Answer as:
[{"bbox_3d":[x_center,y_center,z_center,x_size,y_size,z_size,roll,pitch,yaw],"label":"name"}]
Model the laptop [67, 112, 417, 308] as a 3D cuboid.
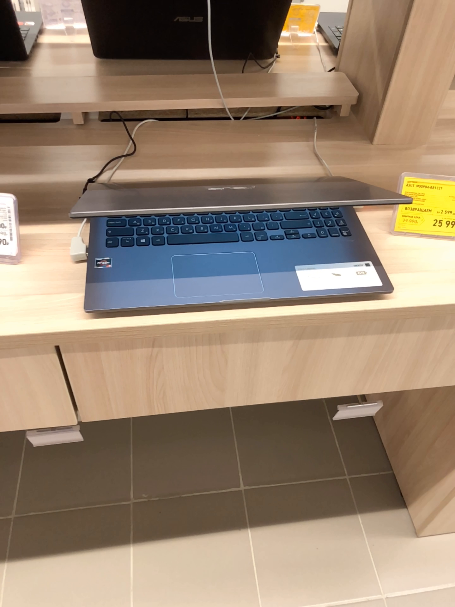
[{"bbox_3d":[0.003,-0.126,0.612,0.349,0.111,0.233,-4,46,-7],"label":"laptop"}]
